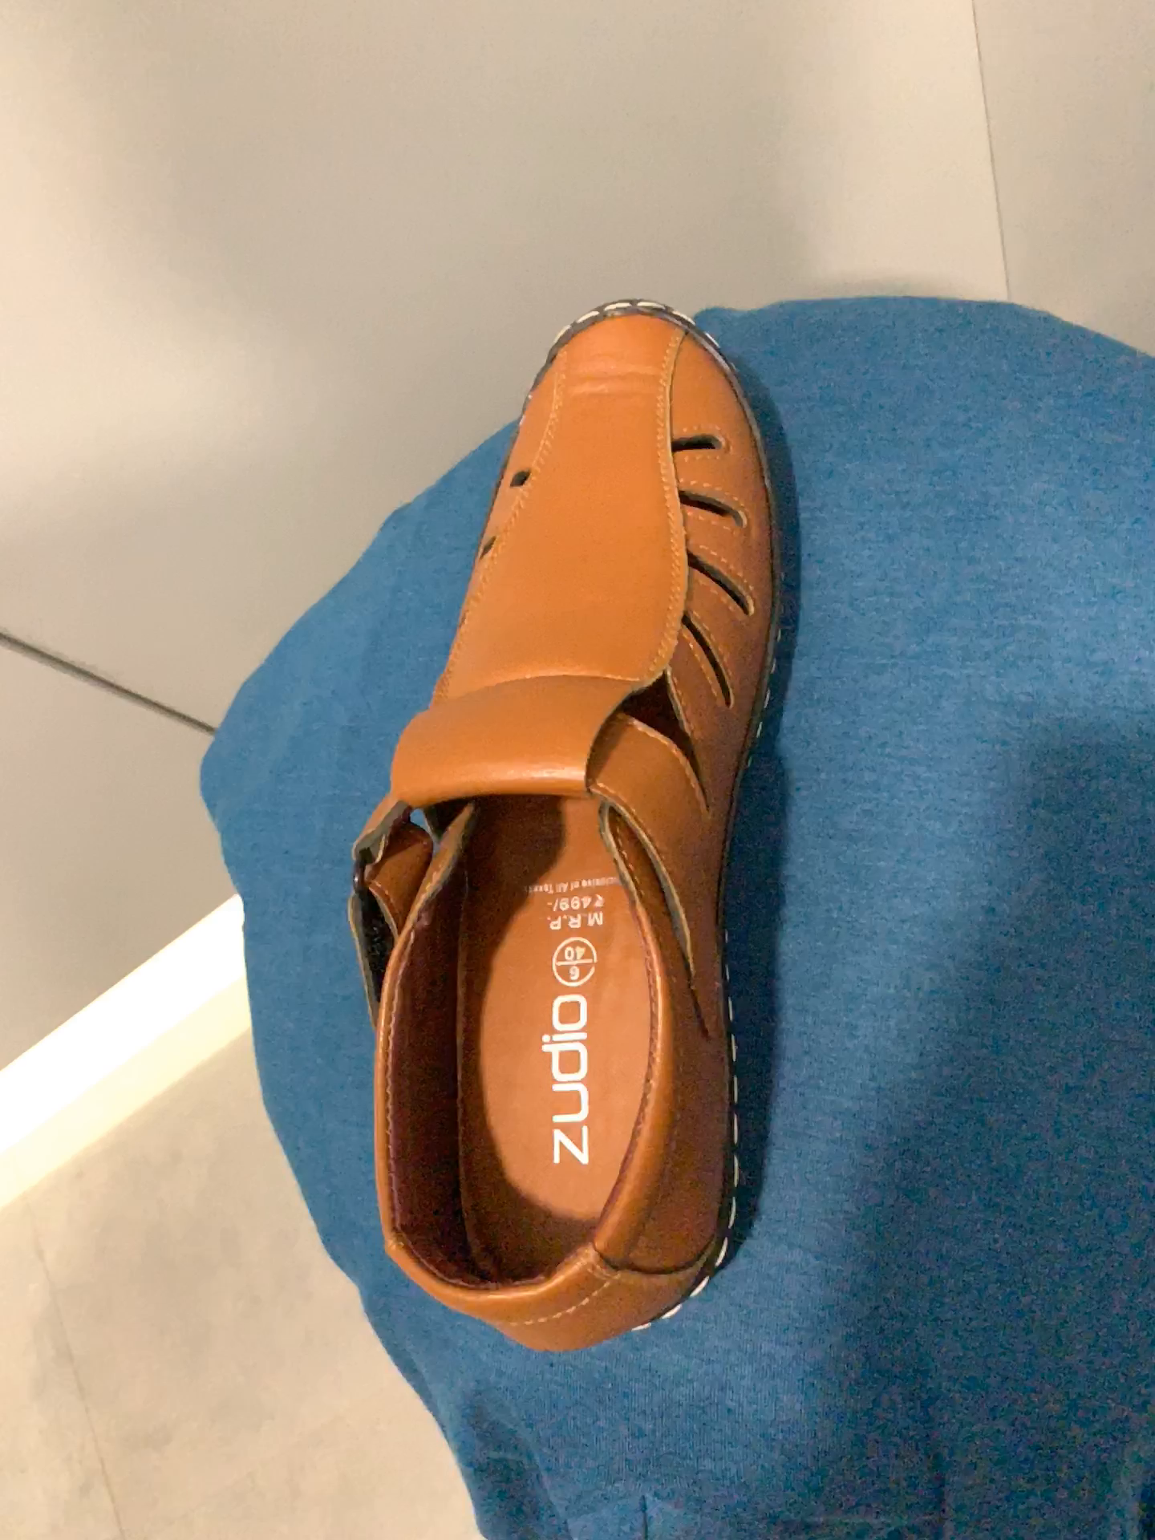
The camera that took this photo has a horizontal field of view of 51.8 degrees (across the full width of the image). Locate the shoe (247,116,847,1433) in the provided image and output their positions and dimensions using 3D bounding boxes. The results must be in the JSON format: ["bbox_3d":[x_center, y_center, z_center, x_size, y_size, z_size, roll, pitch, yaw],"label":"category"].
[{"bbox_3d":[0.004,-0.003,0.299,0.100,0.100,0.270,-5,73,23],"label":"shoe"}]
